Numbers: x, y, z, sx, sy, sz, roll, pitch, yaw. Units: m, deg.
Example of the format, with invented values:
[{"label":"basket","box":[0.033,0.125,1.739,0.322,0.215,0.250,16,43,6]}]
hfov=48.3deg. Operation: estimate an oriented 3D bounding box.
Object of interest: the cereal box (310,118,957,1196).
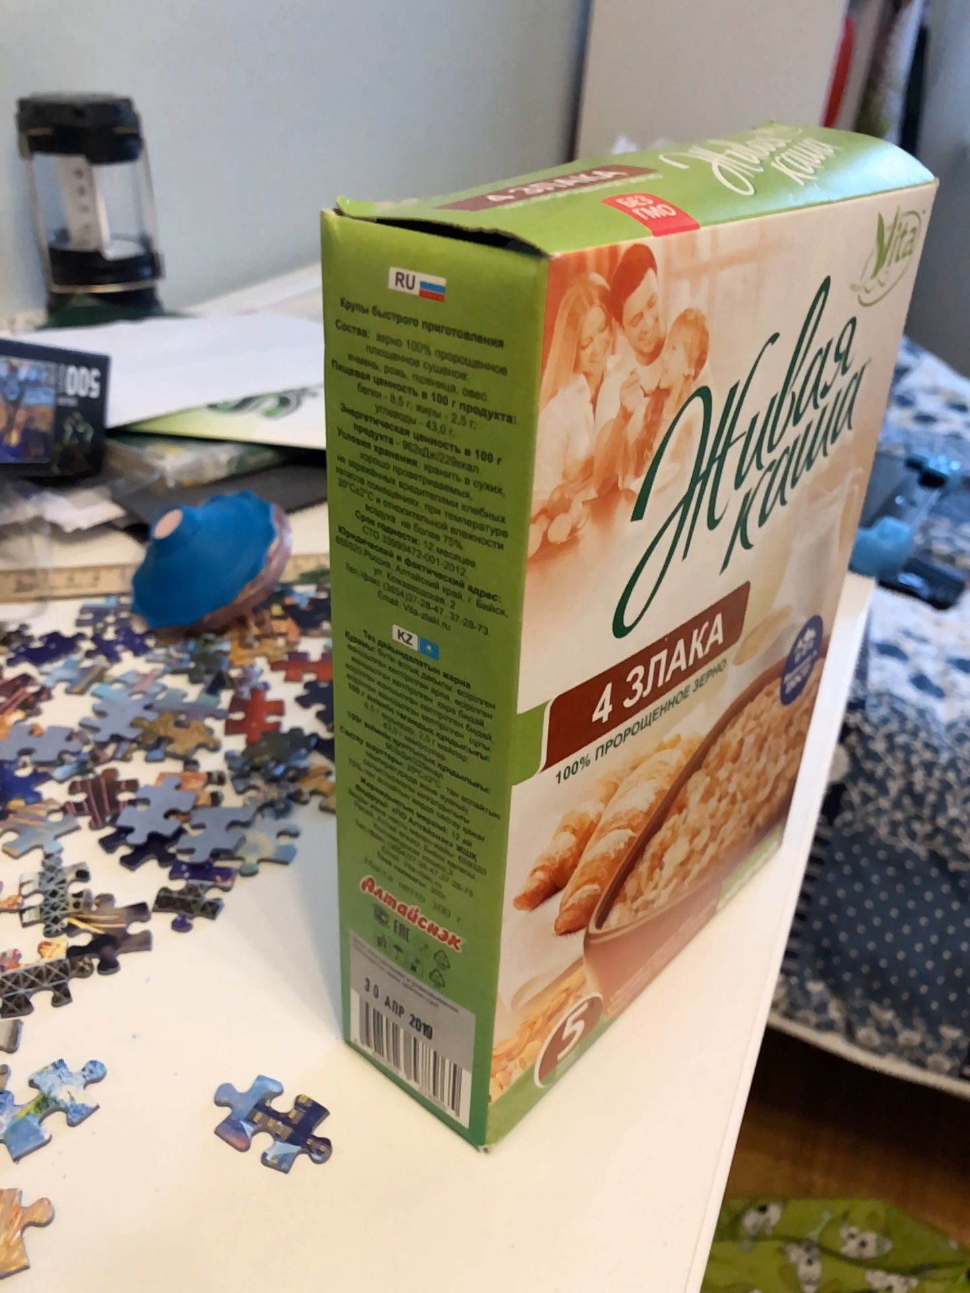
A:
[{"label":"cereal box","box":[0.032,-0.003,0.250,0.050,0.209,0.141,24,36,33]}]
